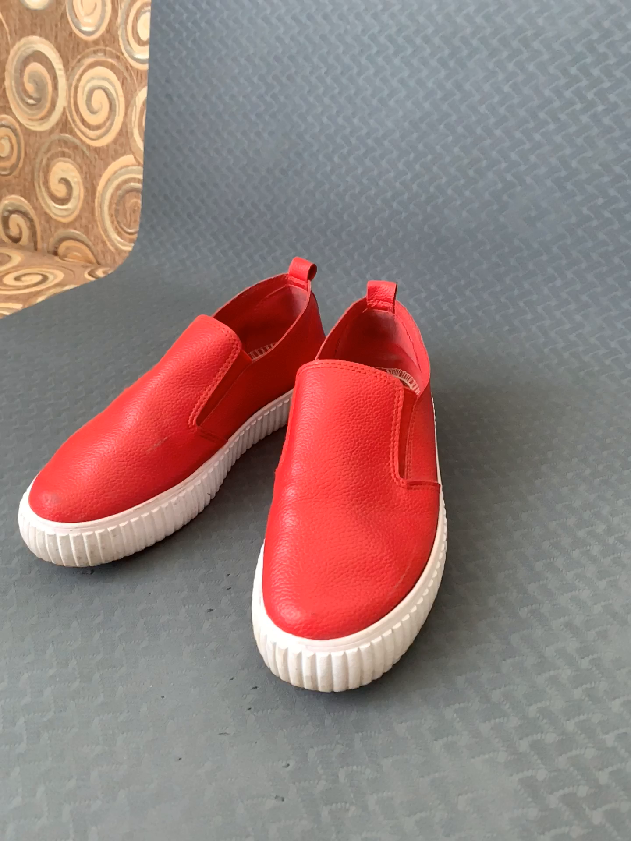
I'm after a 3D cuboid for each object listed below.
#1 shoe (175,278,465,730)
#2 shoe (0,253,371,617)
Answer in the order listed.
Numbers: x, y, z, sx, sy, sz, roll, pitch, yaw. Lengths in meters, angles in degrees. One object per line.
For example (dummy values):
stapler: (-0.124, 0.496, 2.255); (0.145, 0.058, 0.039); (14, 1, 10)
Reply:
shoe: (0.022, 0.015, 0.334); (0.095, 0.070, 0.241); (5, 39, 11)
shoe: (-0.074, -0.012, 0.386); (0.096, 0.070, 0.241); (24, 47, 31)
